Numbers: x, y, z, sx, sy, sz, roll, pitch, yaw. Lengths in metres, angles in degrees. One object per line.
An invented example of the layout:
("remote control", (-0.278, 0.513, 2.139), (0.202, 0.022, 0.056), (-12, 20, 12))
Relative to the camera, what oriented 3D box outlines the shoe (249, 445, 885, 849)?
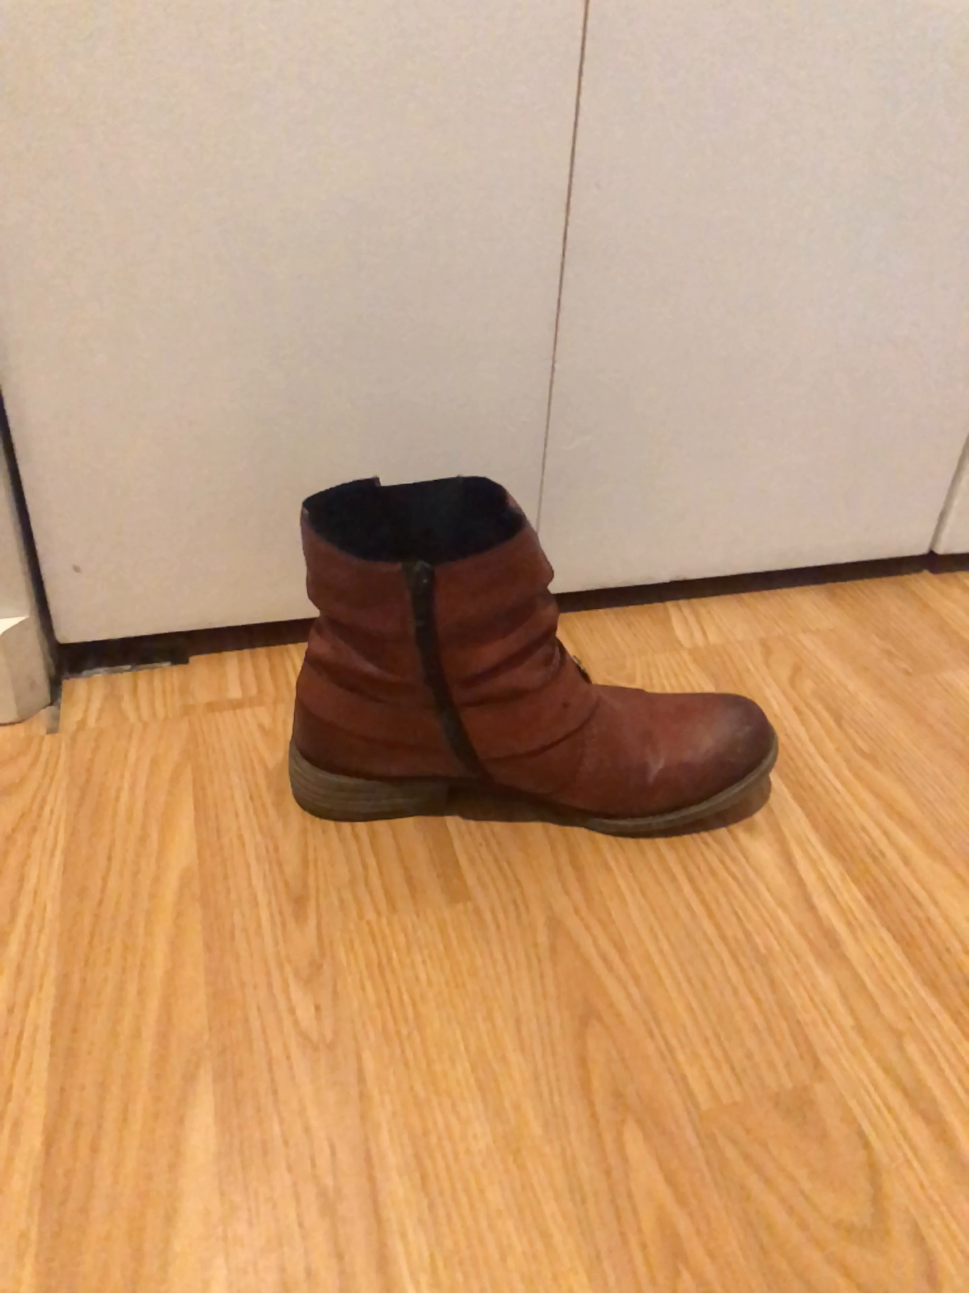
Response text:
("shoe", (0.031, 0.003, 0.541), (0.270, 0.169, 0.100), (2, 35, -3))
